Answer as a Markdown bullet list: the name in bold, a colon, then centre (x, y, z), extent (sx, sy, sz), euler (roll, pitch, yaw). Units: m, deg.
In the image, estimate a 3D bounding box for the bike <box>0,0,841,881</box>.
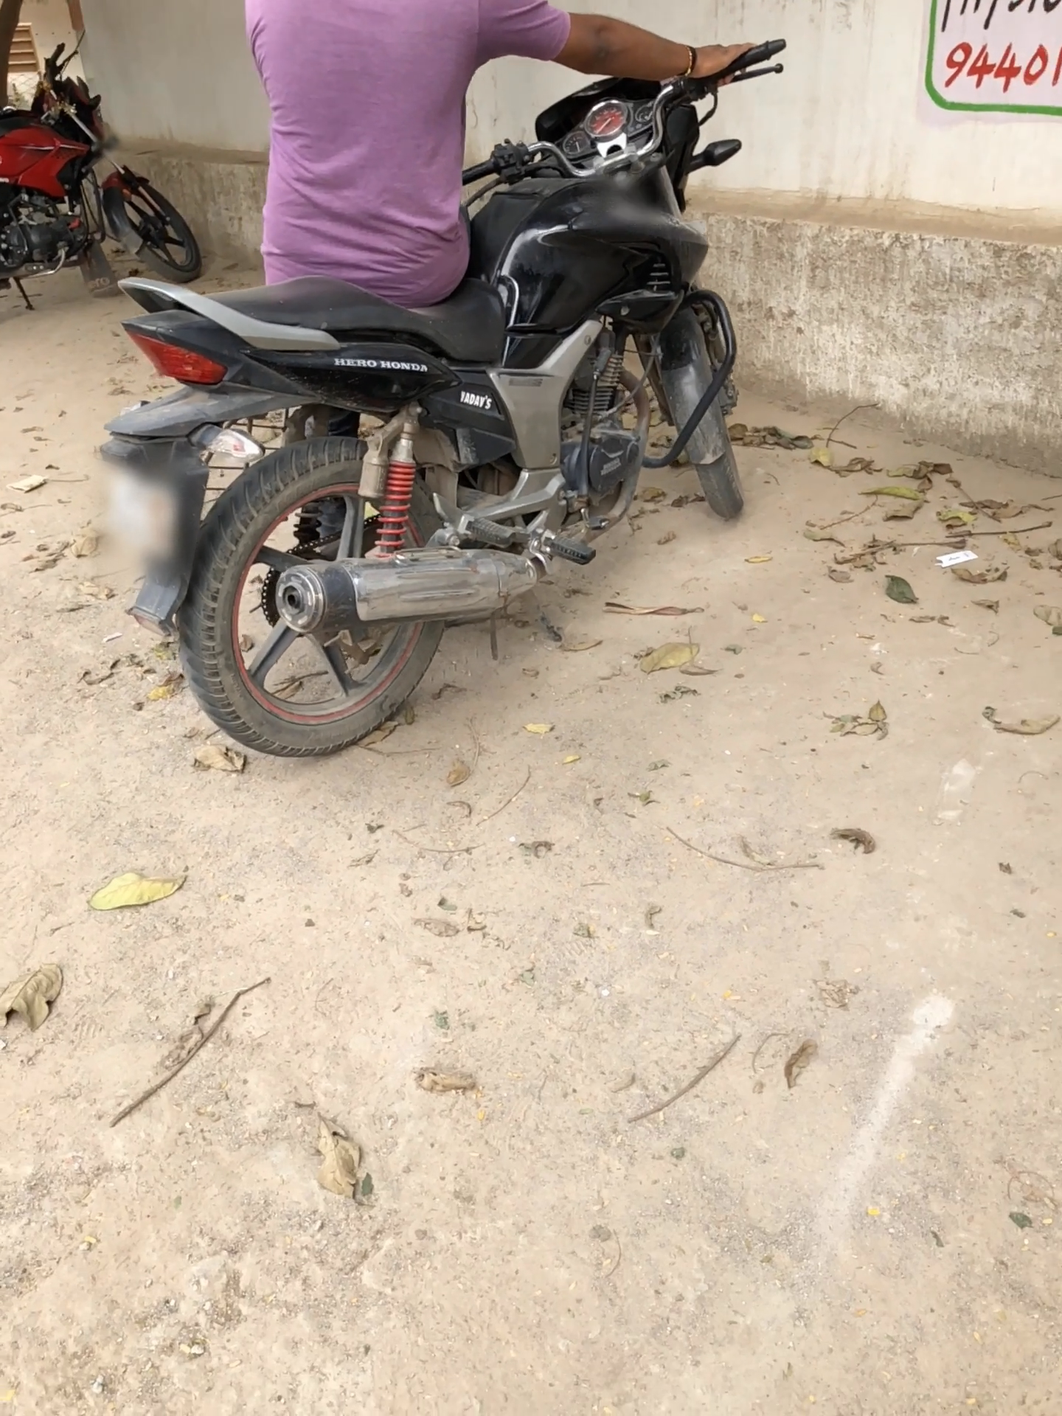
- **bike**: centre (-0.078, -0.814, 2.542), extent (0.824, 1.190, 1.849), euler (16, 38, 31)
